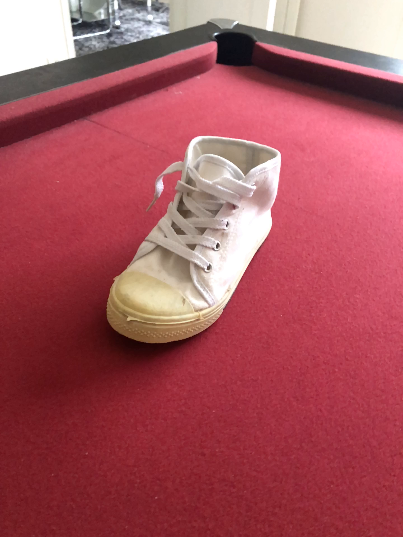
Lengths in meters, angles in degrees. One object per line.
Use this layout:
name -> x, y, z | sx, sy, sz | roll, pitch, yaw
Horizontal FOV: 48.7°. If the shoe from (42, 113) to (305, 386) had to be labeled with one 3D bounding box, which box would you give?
shoe -> -0.004, -0.035, 0.357 | 0.100, 0.089, 0.221 | 19, 42, 18
